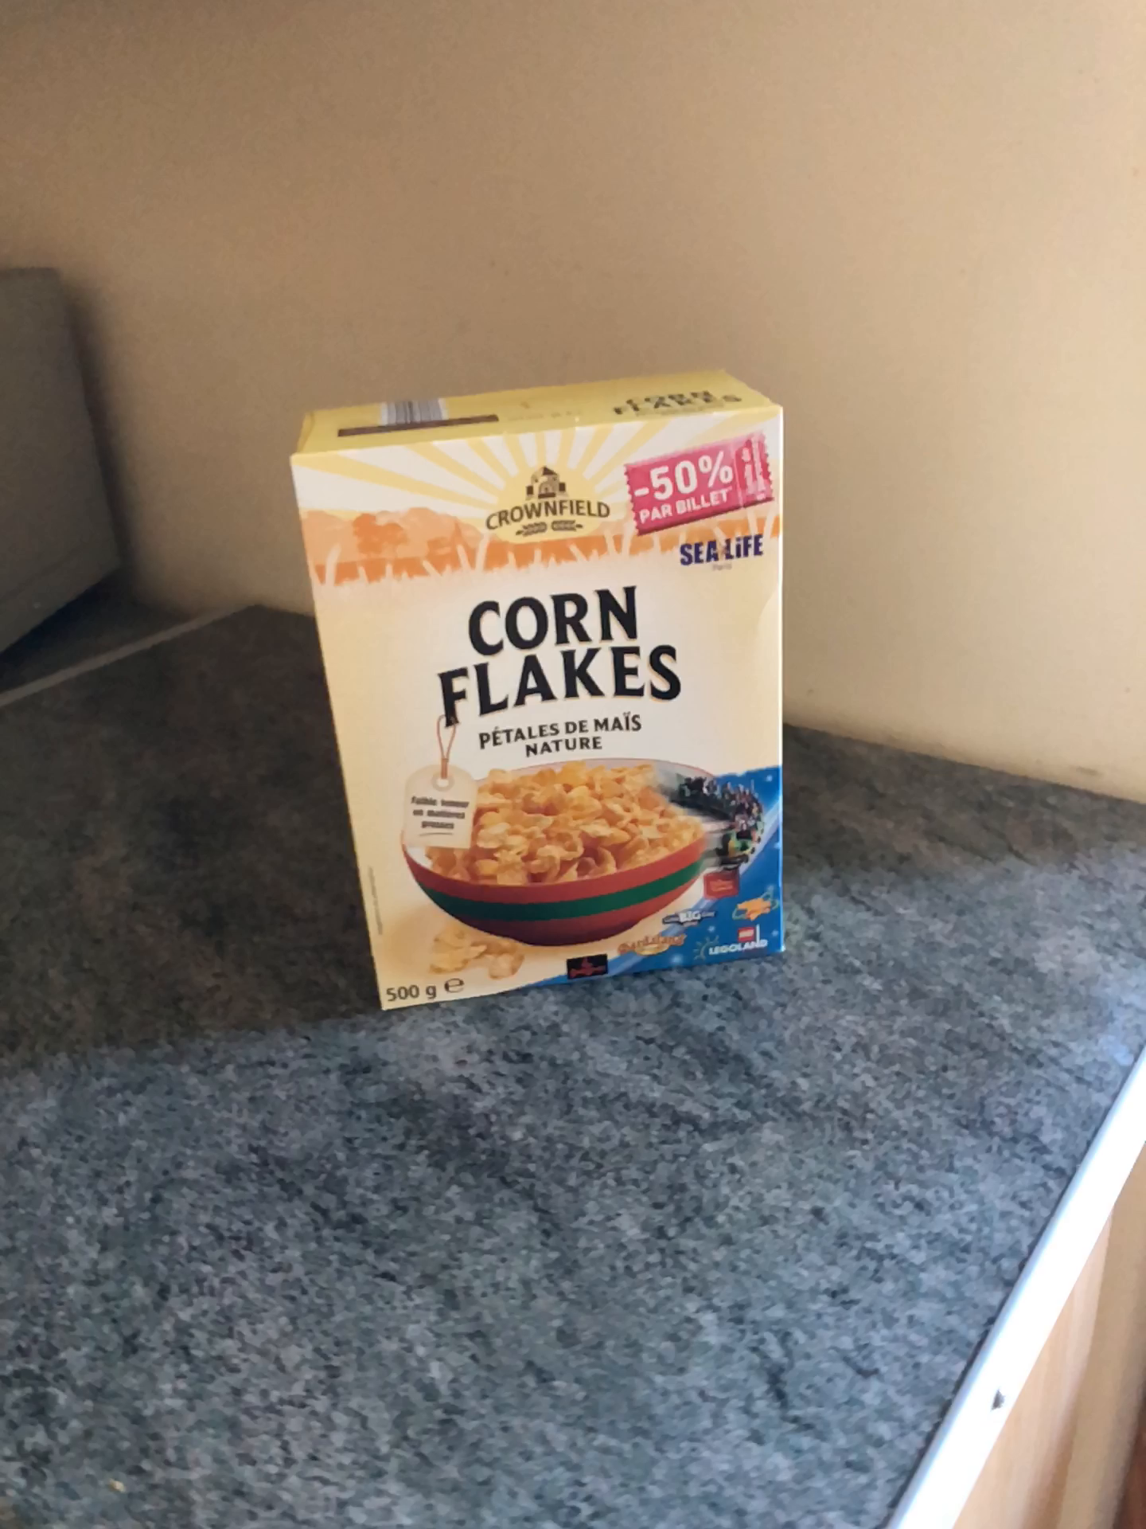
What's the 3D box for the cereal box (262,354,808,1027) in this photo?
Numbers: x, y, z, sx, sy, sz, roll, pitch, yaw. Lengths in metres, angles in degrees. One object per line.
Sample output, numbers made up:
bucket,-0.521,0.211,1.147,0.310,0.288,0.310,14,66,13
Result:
cereal box,-0.011,-0.032,0.560,0.200,0.259,0.100,-6,26,-6
